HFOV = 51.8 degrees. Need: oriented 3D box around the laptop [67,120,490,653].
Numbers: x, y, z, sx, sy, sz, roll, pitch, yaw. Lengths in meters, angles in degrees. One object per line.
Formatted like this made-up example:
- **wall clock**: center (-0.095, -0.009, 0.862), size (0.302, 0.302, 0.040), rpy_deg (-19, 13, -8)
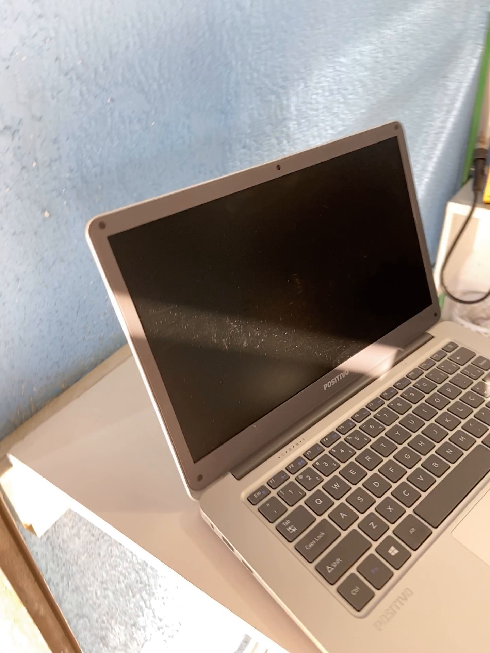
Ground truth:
- **laptop**: center (0.122, 0.009, 0.361), size (0.334, 0.189, 0.311), rpy_deg (-28, 43, -32)
